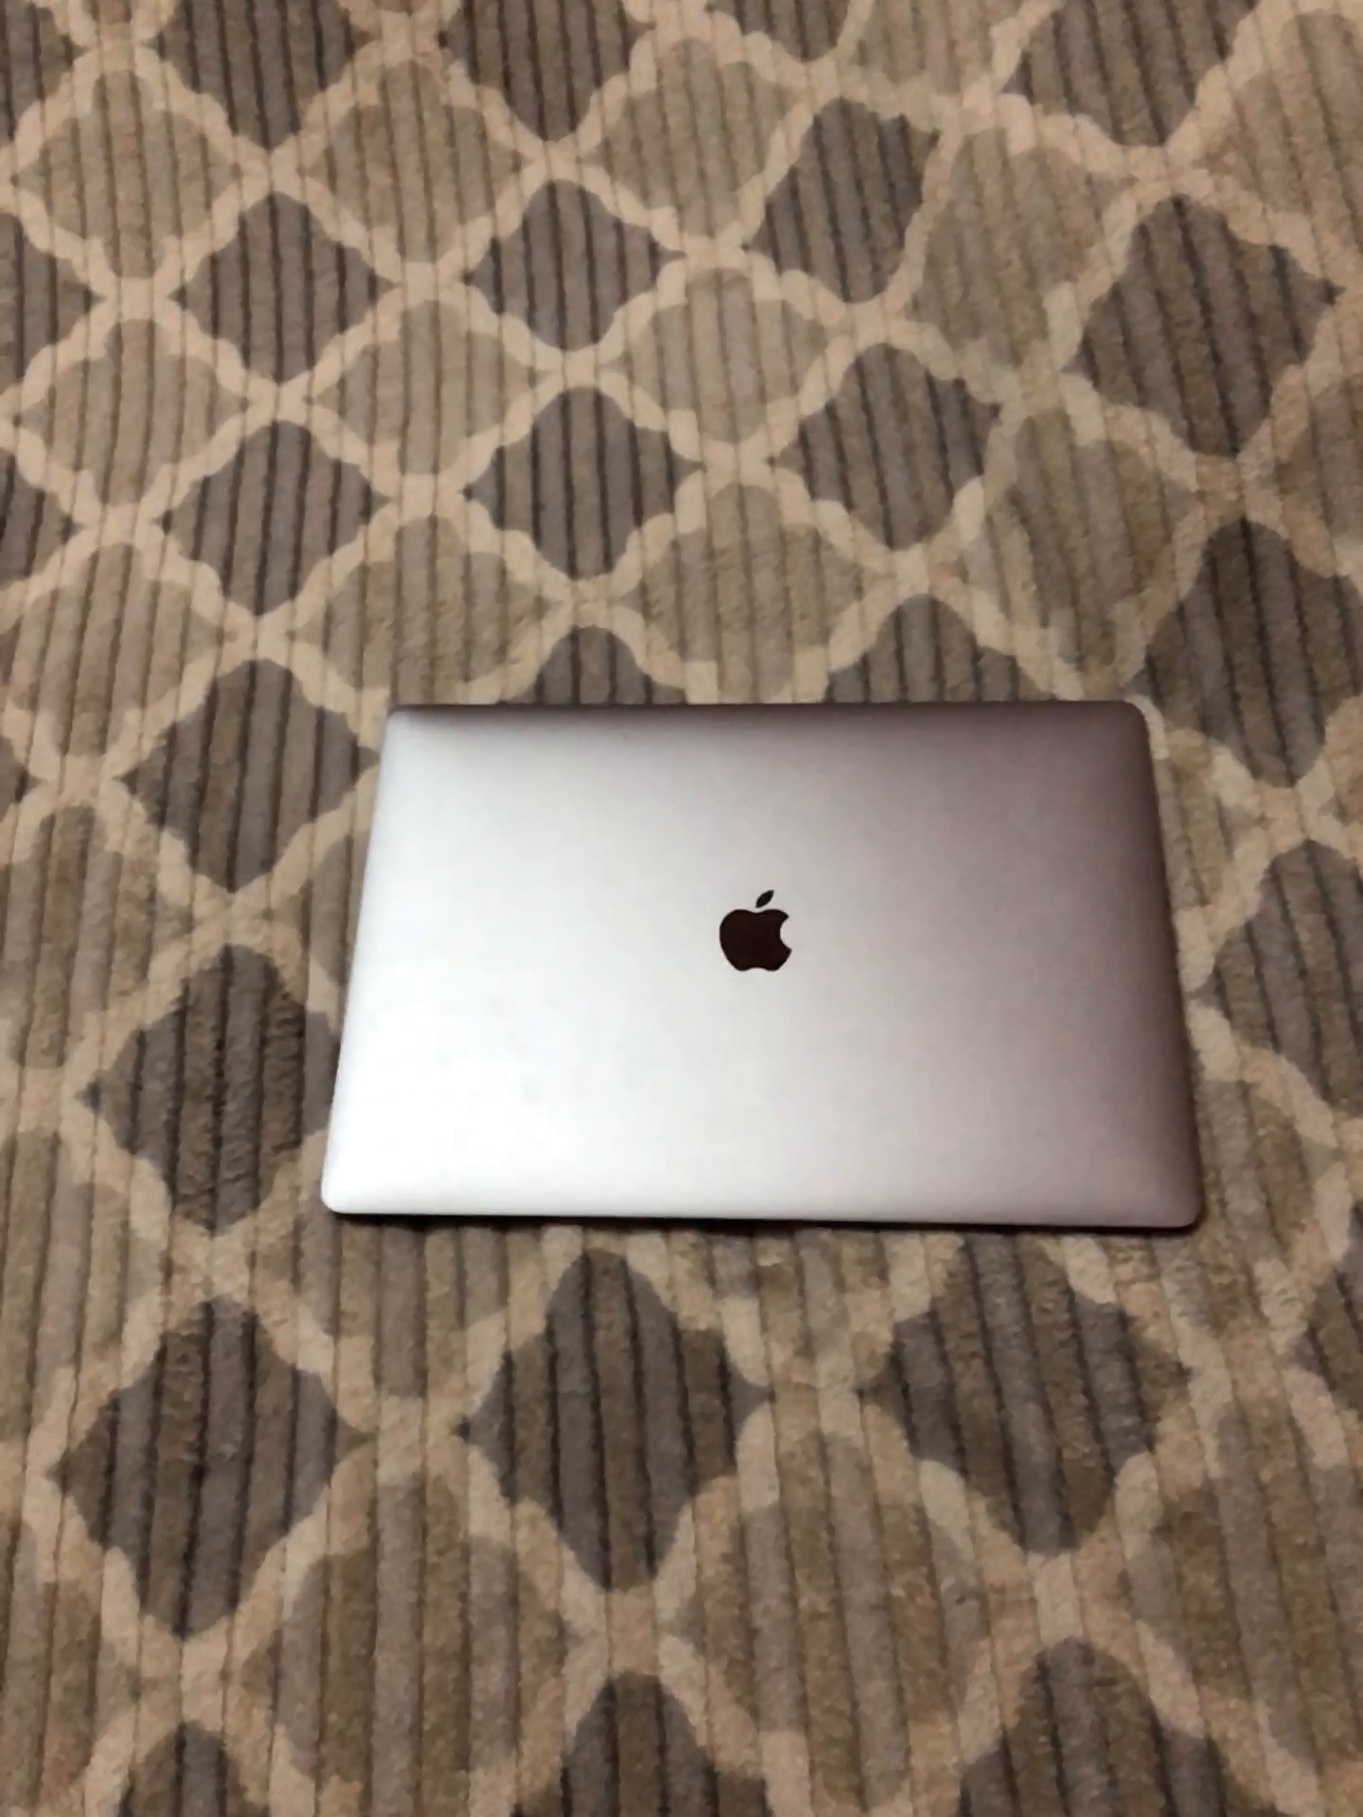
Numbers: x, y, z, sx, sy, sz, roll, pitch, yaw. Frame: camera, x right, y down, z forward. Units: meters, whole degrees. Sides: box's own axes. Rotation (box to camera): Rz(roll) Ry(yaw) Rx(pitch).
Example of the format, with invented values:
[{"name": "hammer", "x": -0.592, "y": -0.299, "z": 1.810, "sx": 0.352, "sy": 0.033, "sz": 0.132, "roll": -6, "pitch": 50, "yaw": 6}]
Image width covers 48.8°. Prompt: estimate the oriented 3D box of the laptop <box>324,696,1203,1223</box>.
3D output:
[{"name": "laptop", "x": 0.032, "y": 0.012, "z": 0.669, "sx": 0.358, "sy": 0.007, "sz": 0.246, "roll": 1, "pitch": 64, "yaw": 4}]
